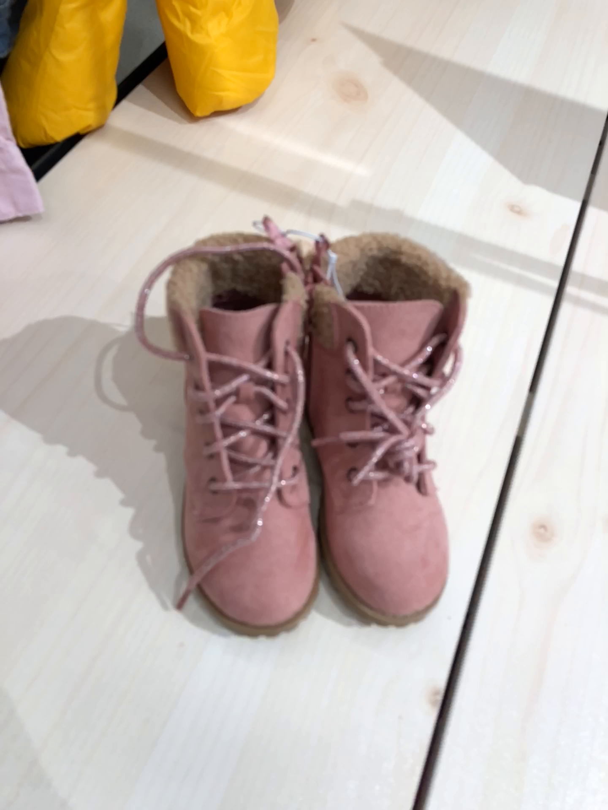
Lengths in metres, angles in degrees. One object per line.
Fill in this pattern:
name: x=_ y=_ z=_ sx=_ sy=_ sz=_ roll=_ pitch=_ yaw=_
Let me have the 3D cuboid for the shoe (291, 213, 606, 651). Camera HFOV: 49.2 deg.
shoe: x=0.047 y=0.013 z=0.309 sx=0.080 sy=0.120 sz=0.160 roll=-4 pitch=57 yaw=-8

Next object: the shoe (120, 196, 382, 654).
shoe: x=-0.030 y=0.009 z=0.296 sx=0.080 sy=0.120 sz=0.160 roll=-4 pitch=57 yaw=-8
